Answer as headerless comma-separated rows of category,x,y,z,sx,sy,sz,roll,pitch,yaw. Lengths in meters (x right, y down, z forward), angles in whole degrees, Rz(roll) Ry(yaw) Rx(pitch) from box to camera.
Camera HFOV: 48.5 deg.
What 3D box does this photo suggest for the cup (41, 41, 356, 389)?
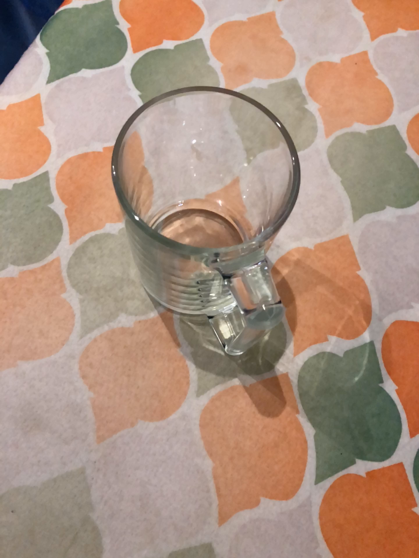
cup,-0.010,-0.021,0.219,0.080,0.100,0.110,-21,73,-10
